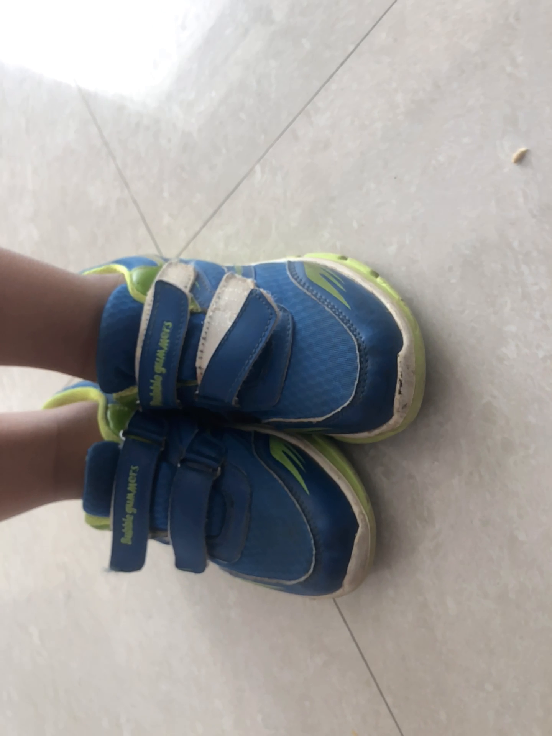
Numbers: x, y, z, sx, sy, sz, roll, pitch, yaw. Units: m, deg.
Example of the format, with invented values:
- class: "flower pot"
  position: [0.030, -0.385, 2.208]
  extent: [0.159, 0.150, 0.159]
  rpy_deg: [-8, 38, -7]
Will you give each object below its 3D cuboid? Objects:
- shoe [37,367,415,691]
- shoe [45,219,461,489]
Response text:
- class: "shoe"
  position: [-0.044, 0.068, 0.347]
  extent: [0.221, 0.060, 0.090]
  rpy_deg: [16, 101, 38]
- class: "shoe"
  position: [-0.029, -0.021, 0.320]
  extent: [0.221, 0.060, 0.090]
  rpy_deg: [15, 100, 38]
